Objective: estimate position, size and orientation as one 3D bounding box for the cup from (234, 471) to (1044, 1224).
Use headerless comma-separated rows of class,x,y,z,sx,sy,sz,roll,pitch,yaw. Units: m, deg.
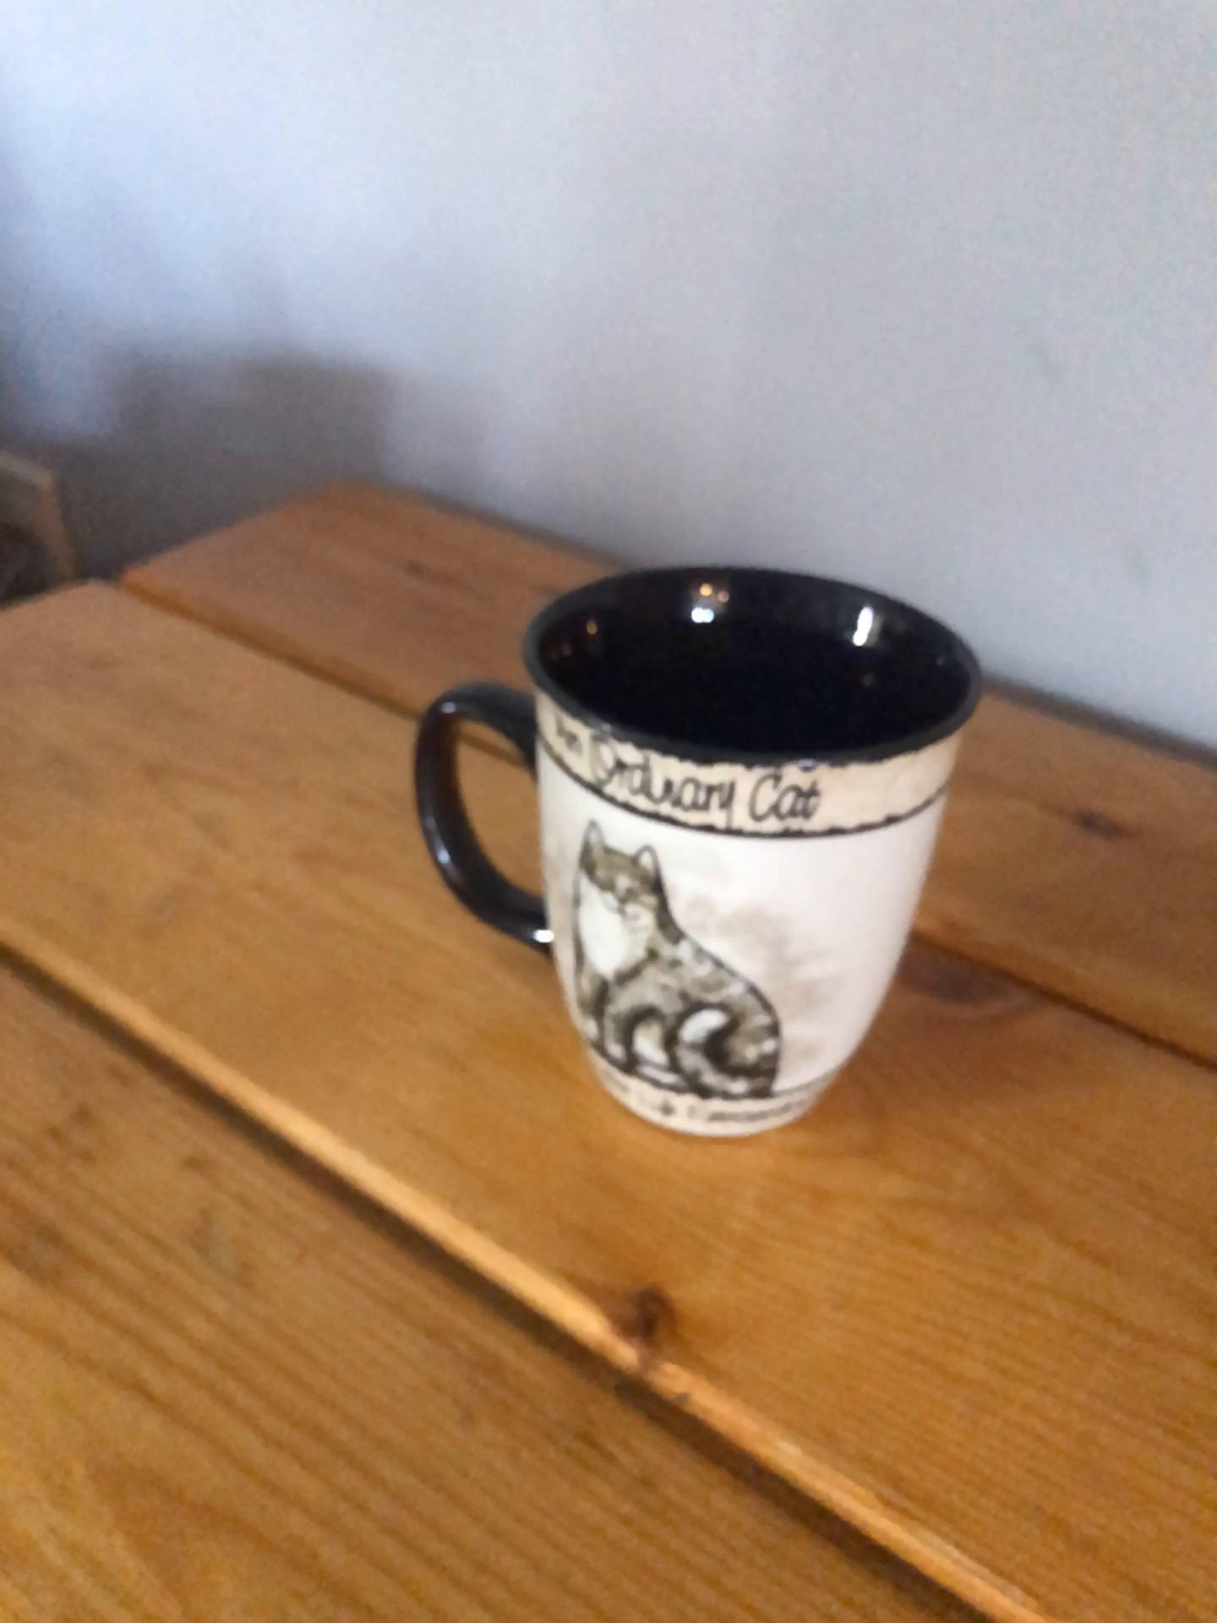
cup,0.007,-0.002,0.318,0.140,0.100,0.100,19,37,25
